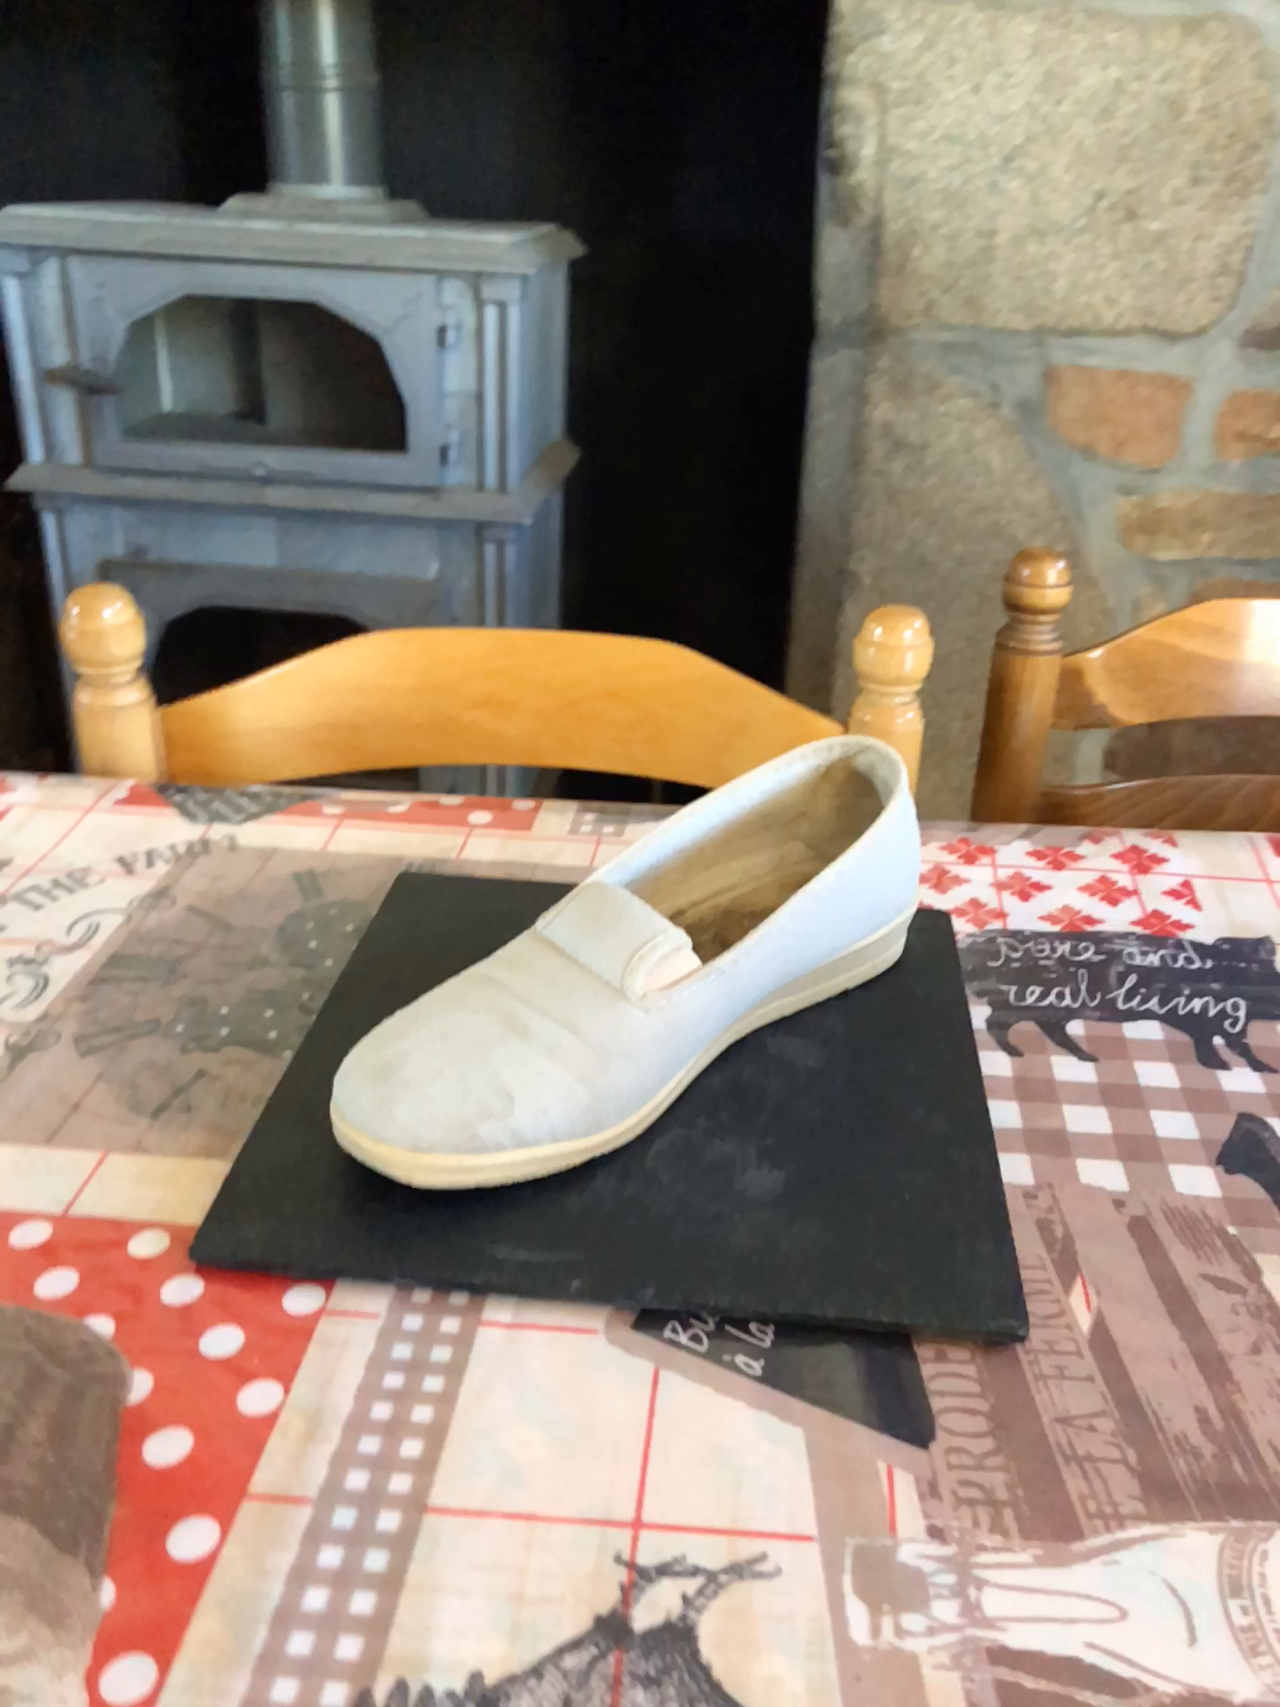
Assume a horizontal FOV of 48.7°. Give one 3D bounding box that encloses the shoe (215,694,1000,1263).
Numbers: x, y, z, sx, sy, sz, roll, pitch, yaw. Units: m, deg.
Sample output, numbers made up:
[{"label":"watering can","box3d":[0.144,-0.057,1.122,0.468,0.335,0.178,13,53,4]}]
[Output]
[{"label":"shoe","box3d":[0.001,0.023,0.474,0.251,0.080,0.100,-20,33,-38]}]
